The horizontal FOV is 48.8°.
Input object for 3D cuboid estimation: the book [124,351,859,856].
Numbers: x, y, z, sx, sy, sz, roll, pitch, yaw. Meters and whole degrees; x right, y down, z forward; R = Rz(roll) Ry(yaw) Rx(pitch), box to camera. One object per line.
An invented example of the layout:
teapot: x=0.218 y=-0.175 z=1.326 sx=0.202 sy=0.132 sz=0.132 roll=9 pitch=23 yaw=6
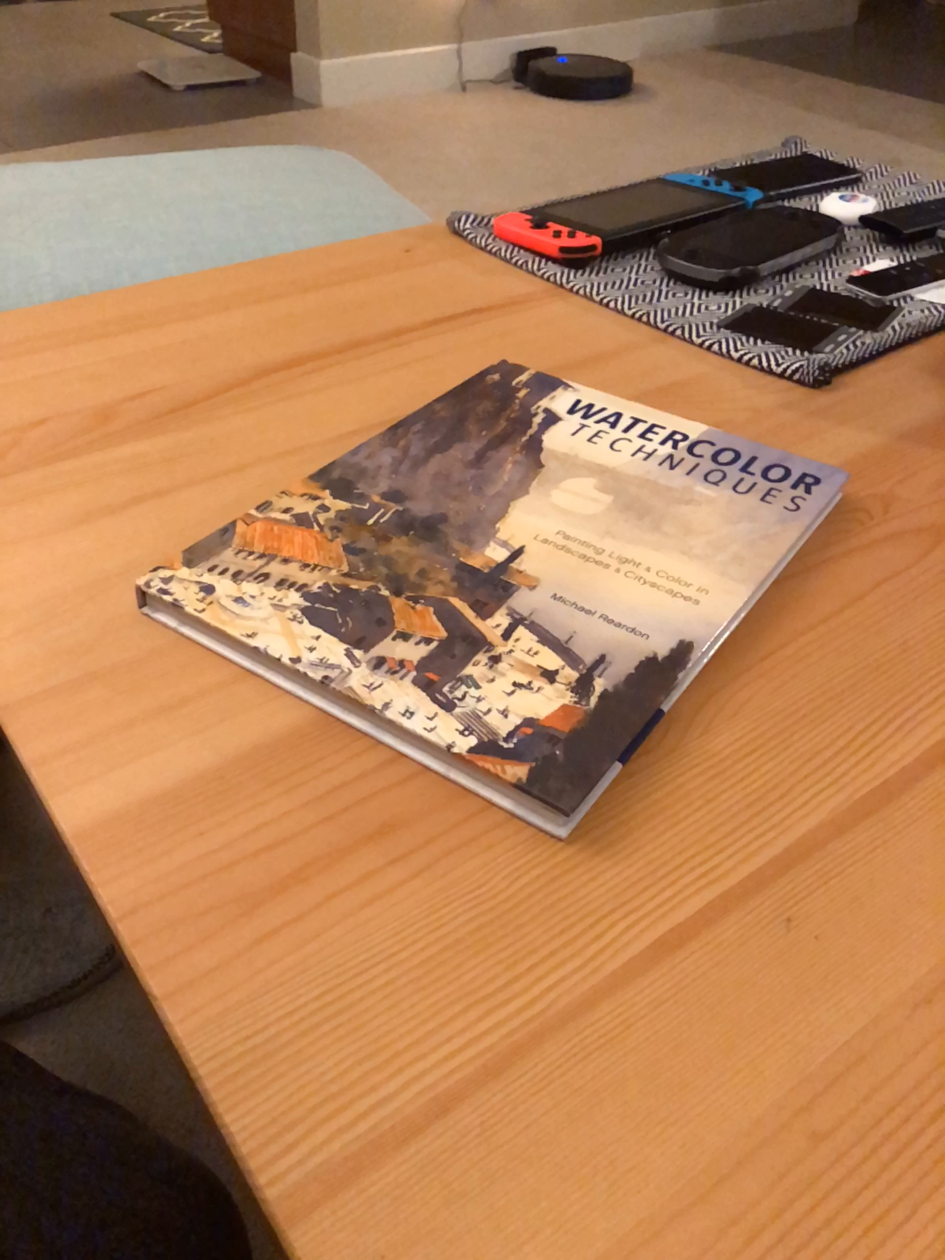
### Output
book: x=0.024 y=-0.044 z=0.477 sx=0.213 sy=0.020 sz=0.280 roll=24 pitch=44 yaw=25
